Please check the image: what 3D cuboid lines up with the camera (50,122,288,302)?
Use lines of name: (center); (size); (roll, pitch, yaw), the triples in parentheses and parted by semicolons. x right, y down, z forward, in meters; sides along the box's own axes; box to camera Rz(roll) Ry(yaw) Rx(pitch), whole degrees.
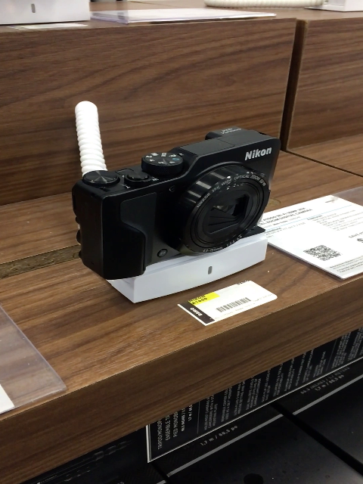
camera: (-0.004, -0.021, 0.281); (0.123, 0.073, 0.037); (-23, 46, -31)
